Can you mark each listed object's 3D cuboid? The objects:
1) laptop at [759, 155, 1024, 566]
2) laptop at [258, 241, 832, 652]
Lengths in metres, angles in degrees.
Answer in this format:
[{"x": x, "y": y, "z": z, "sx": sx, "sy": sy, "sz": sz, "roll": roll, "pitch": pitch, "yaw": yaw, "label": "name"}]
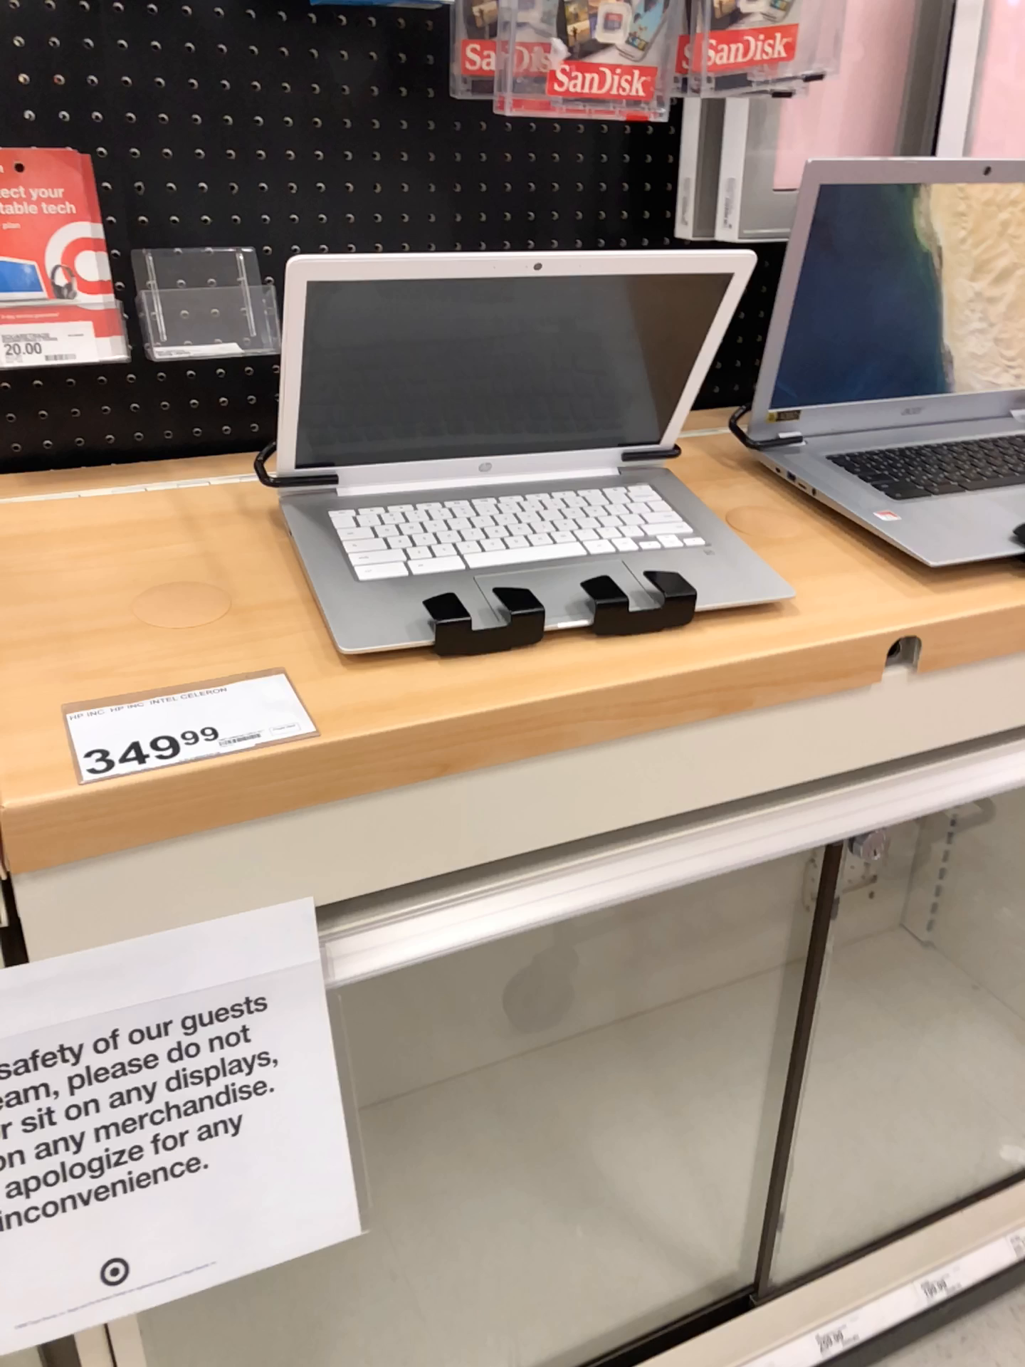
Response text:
[{"x": 0.413, "y": -0.276, "z": 0.904, "sx": 0.320, "sy": 0.231, "sz": 0.231, "roll": -10, "pitch": 31, "yaw": -18, "label": "laptop"}, {"x": 0.014, "y": -0.178, "z": 0.771, "sx": 0.322, "sy": 0.172, "sz": 0.201, "roll": -8, "pitch": 34, "yaw": -19, "label": "laptop"}]
